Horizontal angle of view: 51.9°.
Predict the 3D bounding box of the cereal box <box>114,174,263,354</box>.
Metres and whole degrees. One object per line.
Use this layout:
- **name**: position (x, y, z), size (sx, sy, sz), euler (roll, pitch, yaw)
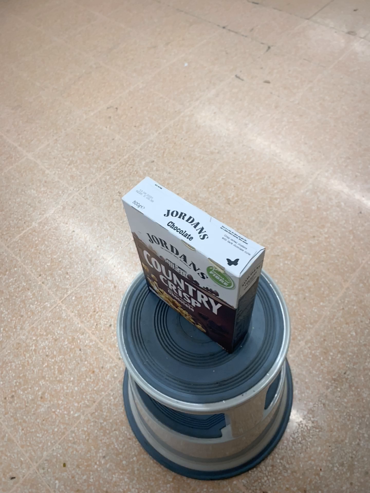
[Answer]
- **cereal box**: position (0.008, 0.039, 0.539), size (0.181, 0.248, 0.050), euler (34, 66, 23)
